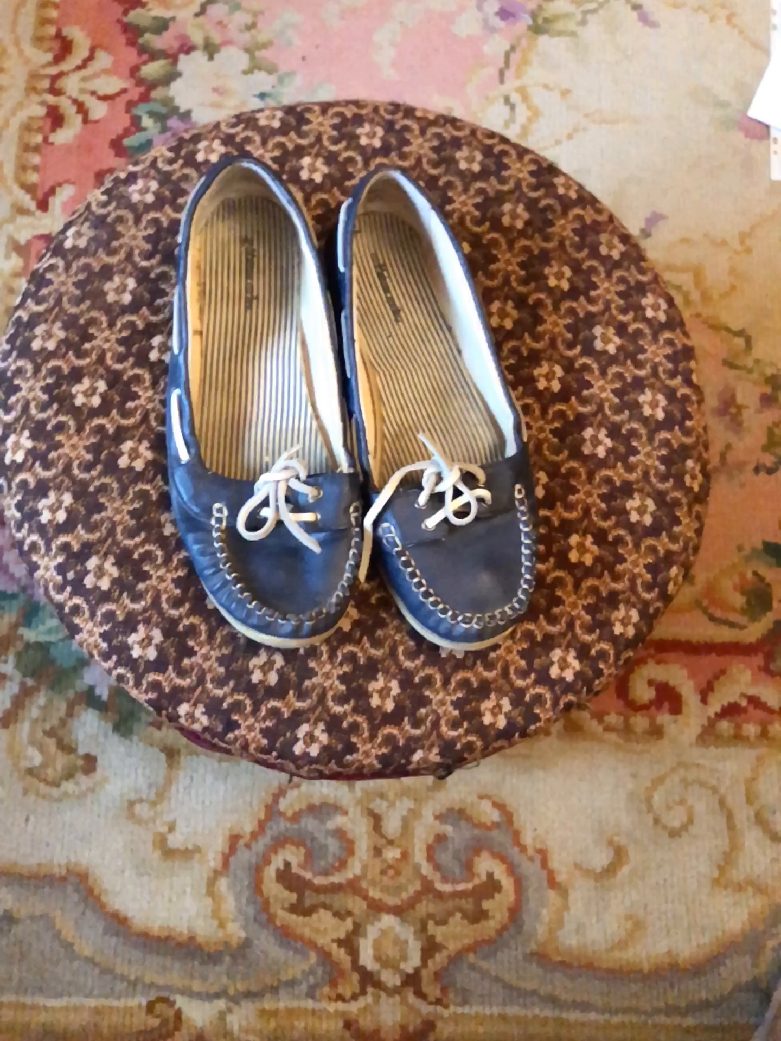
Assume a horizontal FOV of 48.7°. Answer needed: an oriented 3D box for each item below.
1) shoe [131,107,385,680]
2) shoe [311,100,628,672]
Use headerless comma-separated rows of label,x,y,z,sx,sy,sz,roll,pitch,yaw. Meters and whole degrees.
shoe,-0.063,-0.059,0.421,0.090,0.100,0.250,-7,73,-2
shoe,0.028,-0.060,0.418,0.090,0.090,0.250,-8,80,-9
